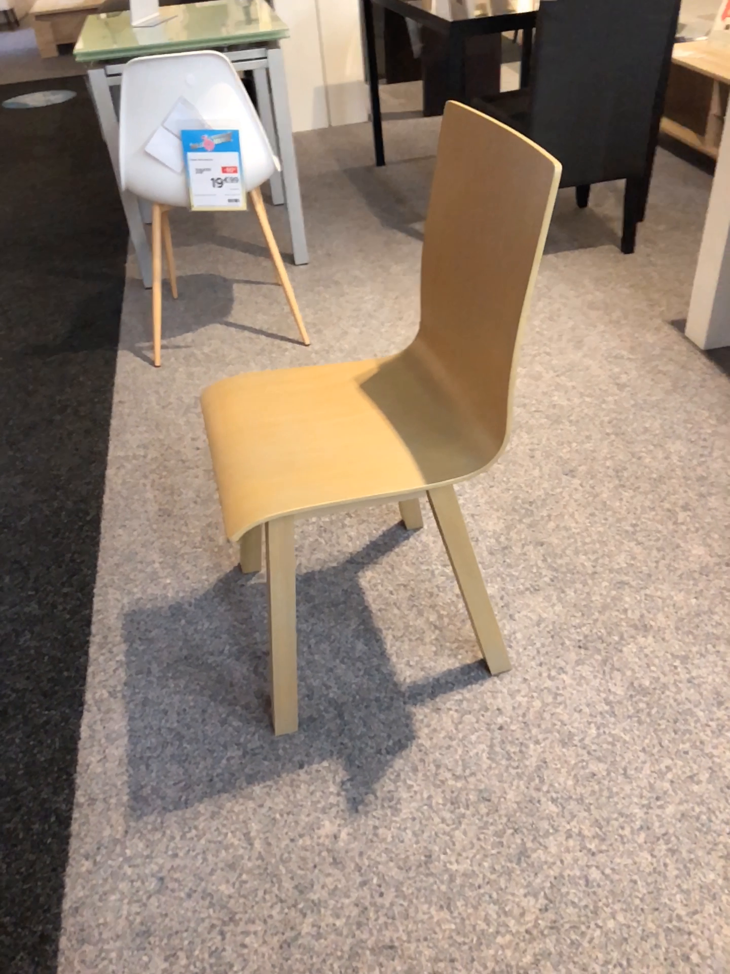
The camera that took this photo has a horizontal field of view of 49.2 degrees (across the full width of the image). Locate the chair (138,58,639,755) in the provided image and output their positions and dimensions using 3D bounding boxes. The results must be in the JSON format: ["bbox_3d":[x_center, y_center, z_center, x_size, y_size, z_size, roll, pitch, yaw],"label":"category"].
[{"bbox_3d":[0.010,-0.111,1.219,0.490,0.835,0.523,-11,39,-7],"label":"chair"}]
